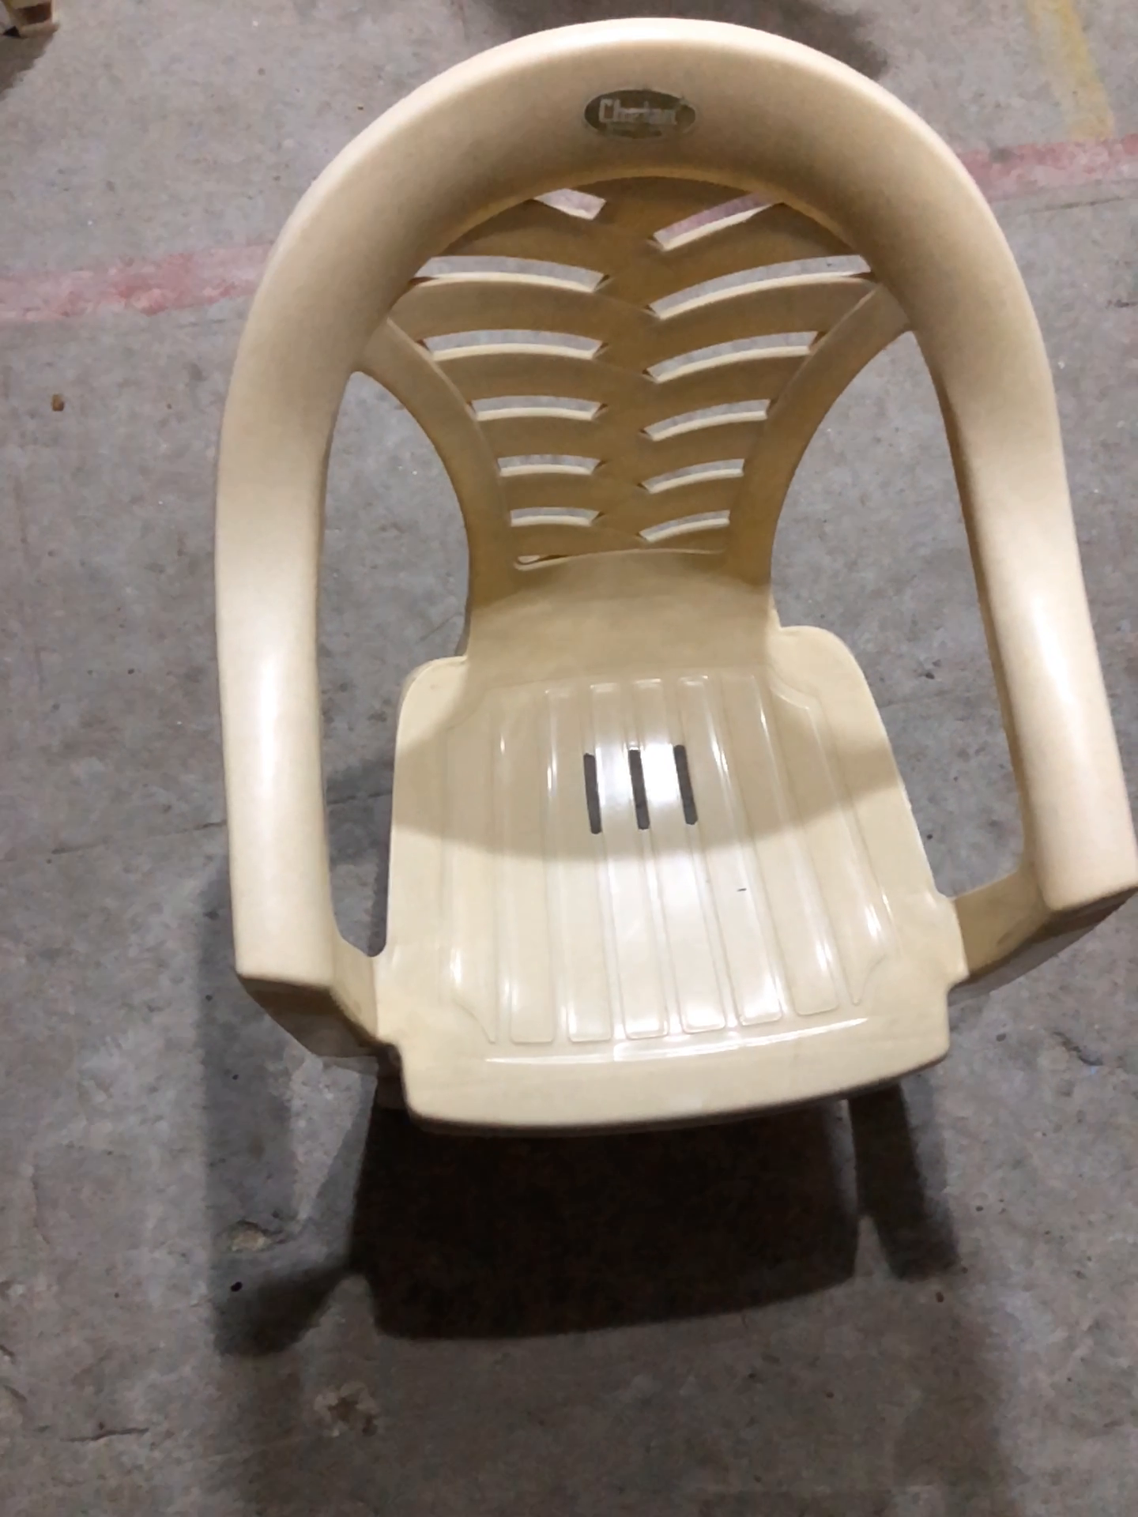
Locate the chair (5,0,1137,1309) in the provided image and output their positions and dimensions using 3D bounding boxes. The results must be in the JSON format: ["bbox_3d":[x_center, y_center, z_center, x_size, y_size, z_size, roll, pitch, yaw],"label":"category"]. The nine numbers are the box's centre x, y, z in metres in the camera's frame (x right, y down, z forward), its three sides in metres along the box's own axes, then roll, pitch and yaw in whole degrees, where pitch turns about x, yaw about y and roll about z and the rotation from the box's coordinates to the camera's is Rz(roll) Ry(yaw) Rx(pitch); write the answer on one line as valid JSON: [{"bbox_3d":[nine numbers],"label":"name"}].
[{"bbox_3d":[0.063,-0.003,0.907,0.560,0.868,0.561,-3,76,-3],"label":"chair"}]
